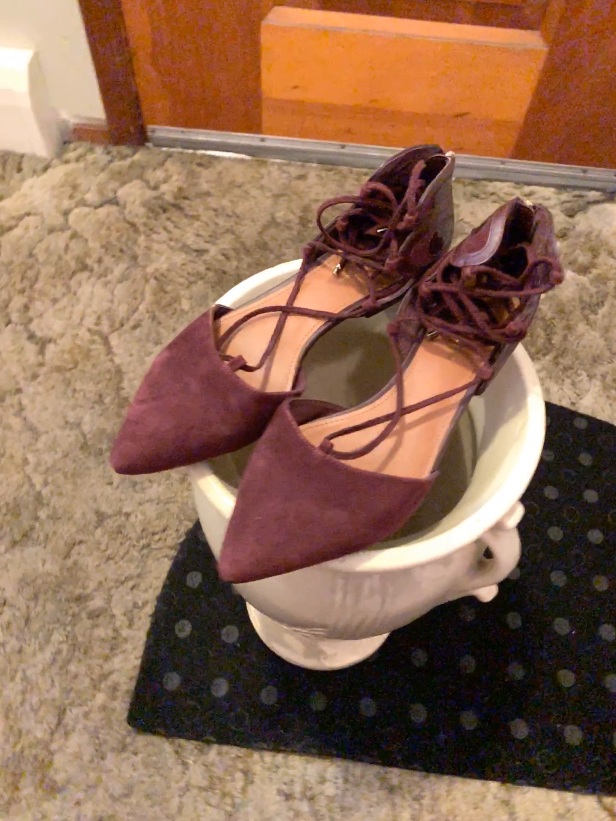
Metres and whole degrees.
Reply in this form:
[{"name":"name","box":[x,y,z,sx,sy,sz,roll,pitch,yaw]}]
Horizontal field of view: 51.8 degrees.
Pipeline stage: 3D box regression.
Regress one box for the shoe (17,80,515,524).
[{"name":"shoe","box":[-0.008,-0.073,0.361,0.093,0.099,0.261,39,63,21]}]

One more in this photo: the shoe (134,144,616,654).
[{"name":"shoe","box":[0.049,-0.019,0.332,0.092,0.099,0.261,36,62,19]}]
